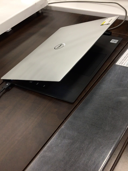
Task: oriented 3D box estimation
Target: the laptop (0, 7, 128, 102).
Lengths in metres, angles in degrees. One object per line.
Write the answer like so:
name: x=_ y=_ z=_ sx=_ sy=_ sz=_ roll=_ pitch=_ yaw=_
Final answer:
laptop: x=0.005 y=-0.104 z=0.462 sx=0.201 sy=0.075 sz=0.278 roll=24 pitch=59 yaw=24
